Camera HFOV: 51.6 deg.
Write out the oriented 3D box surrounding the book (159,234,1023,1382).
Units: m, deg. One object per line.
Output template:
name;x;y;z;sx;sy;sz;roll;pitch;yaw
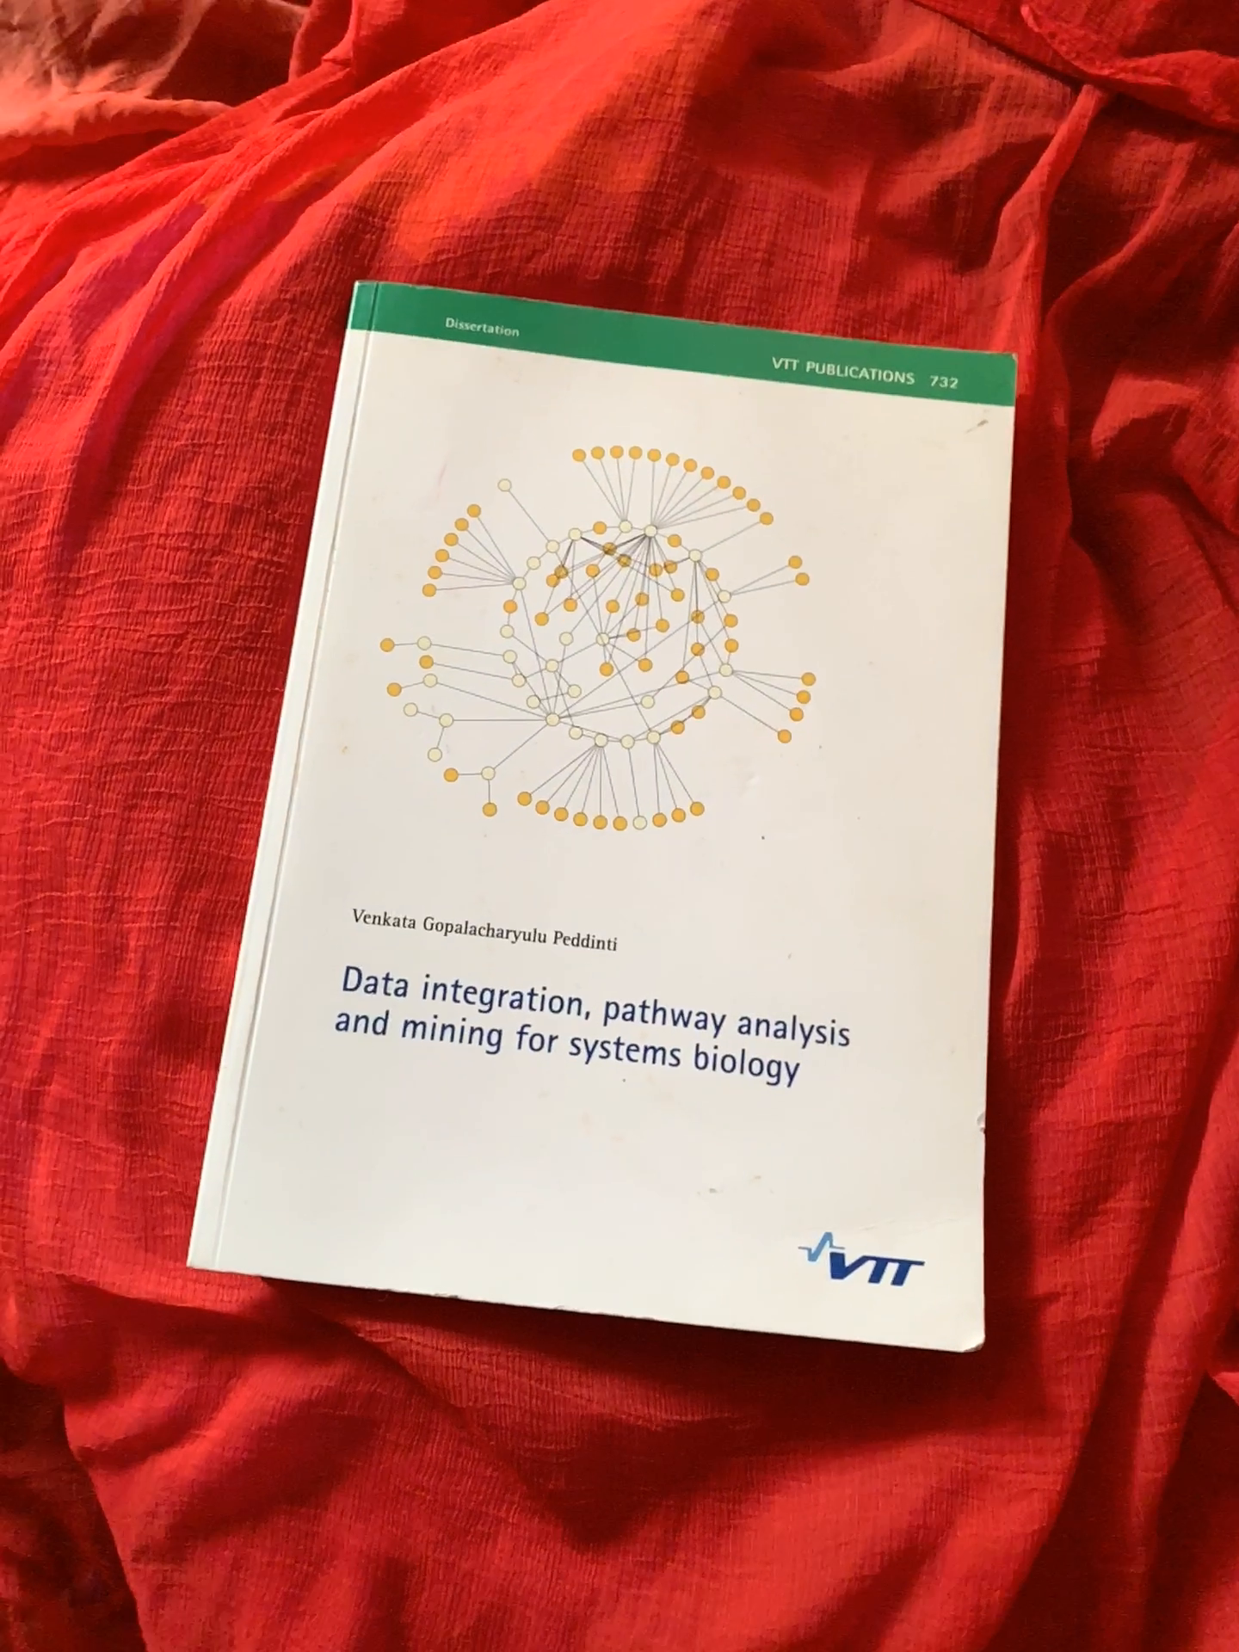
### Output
book;0.003;-0.018;0.320;0.180;0.020;0.270;6;76;2
